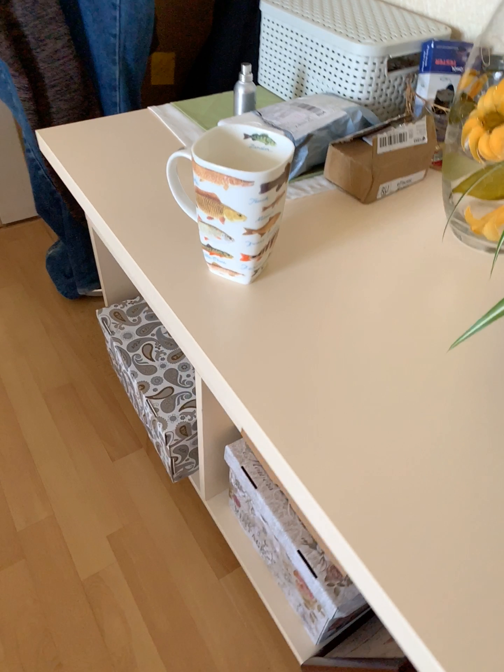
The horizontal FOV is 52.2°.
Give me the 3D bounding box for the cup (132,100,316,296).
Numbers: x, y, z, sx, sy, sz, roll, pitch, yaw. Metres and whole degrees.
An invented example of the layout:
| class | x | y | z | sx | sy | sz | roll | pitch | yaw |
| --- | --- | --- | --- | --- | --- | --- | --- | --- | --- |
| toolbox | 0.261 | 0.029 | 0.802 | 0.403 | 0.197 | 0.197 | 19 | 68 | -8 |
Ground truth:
| class | x | y | z | sx | sy | sz | roll | pitch | yaw |
| --- | --- | --- | --- | --- | --- | --- | --- | --- | --- |
| cup | -0.028 | -0.142 | 0.525 | 0.140 | 0.129 | 0.101 | 22 | 48 | 17 |
